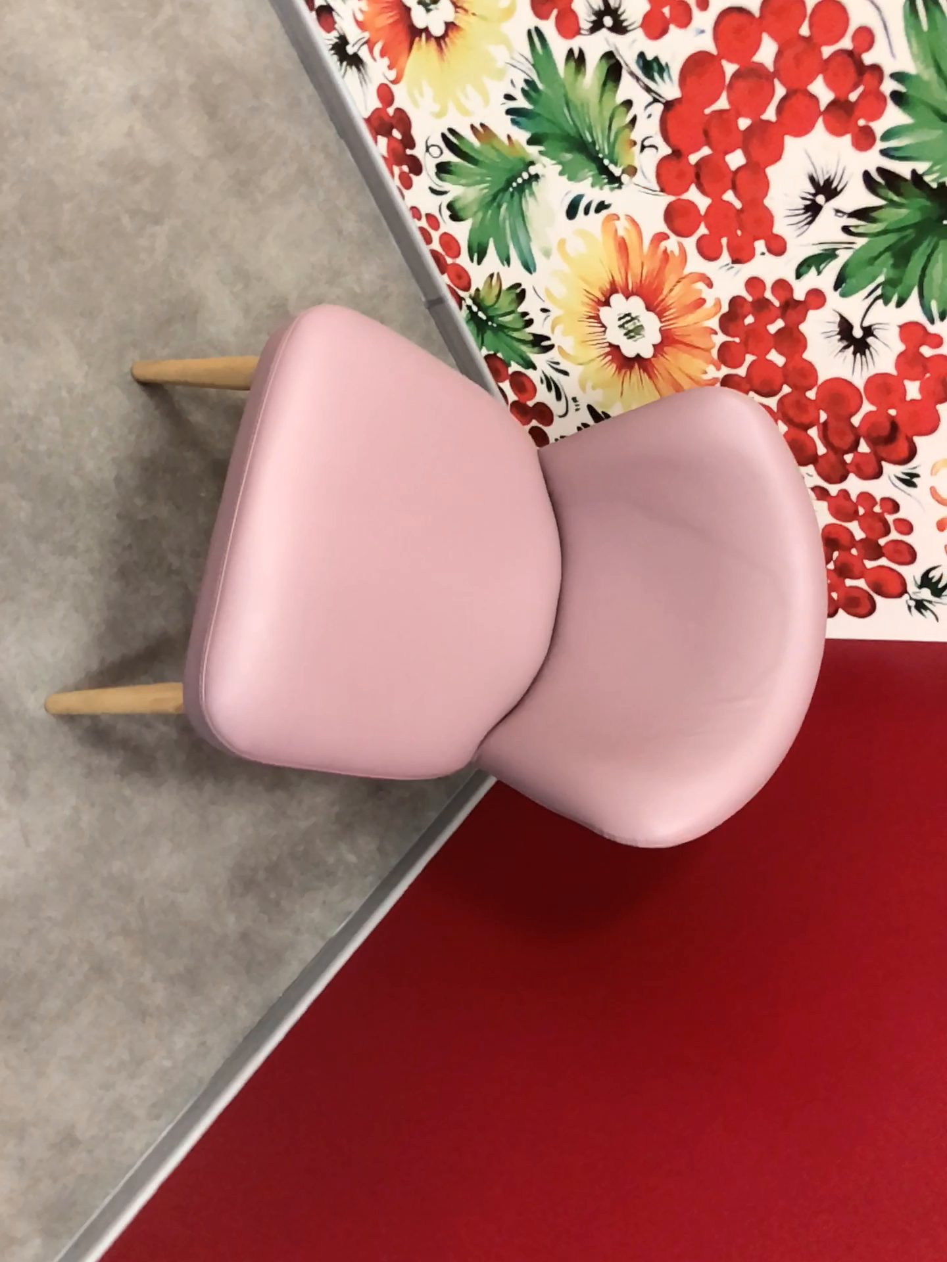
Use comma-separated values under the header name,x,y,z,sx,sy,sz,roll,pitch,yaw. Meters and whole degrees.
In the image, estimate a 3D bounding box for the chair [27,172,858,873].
name,x,y,z,sx,sy,sz,roll,pitch,yaw
chair,-0.068,-0.057,1.250,0.542,0.786,0.510,18,79,-41
